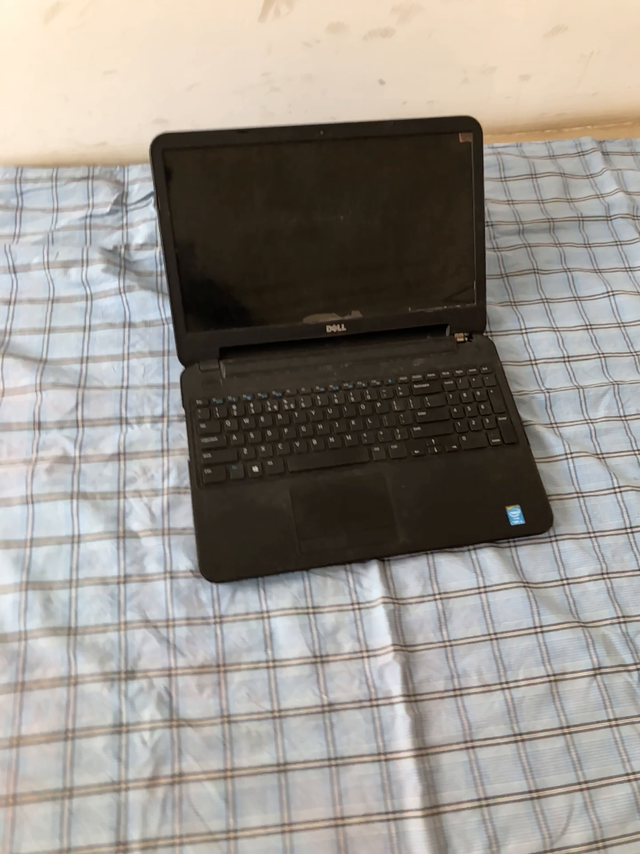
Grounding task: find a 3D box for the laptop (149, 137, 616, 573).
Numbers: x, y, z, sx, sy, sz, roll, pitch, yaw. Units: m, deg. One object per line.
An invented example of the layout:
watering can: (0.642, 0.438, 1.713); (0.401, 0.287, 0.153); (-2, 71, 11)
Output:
laptop: (0.029, -0.094, 0.733); (0.355, 0.163, 0.414); (-7, 60, -10)
